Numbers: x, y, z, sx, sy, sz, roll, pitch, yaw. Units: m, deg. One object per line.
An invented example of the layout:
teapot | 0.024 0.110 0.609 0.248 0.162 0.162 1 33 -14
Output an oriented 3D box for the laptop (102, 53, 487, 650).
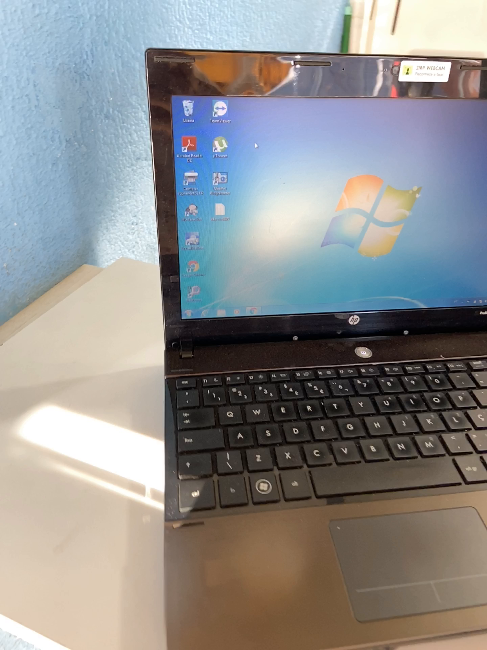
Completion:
laptop | 0.113 -0.018 0.289 0.321 0.207 0.260 -3 35 -6
